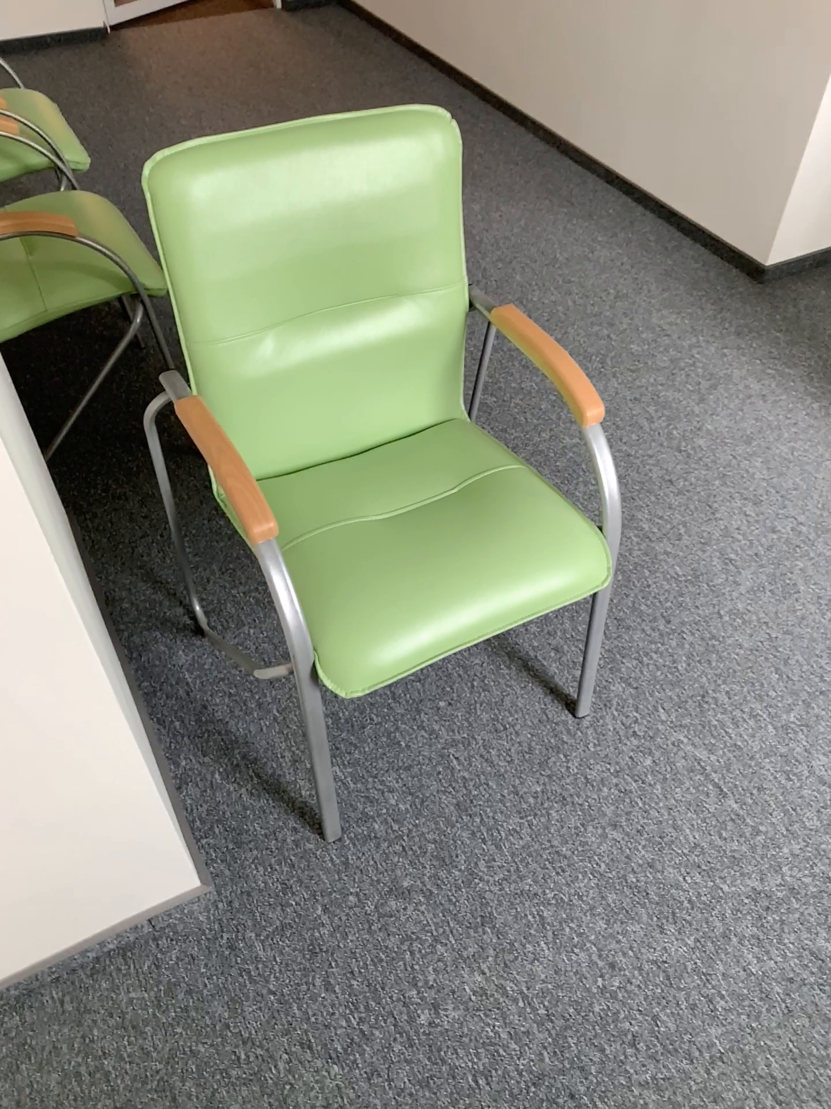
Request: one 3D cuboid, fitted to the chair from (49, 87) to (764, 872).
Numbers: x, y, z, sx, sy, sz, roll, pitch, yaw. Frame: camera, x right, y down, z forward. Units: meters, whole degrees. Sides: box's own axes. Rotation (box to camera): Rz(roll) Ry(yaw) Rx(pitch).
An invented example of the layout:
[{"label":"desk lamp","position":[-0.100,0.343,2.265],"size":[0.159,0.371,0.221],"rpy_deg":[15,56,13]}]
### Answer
[{"label":"chair","position":[-0.051,-0.099,1.320],"size":[0.621,0.876,0.622],"rpy_deg":[-21,51,-19]}]
